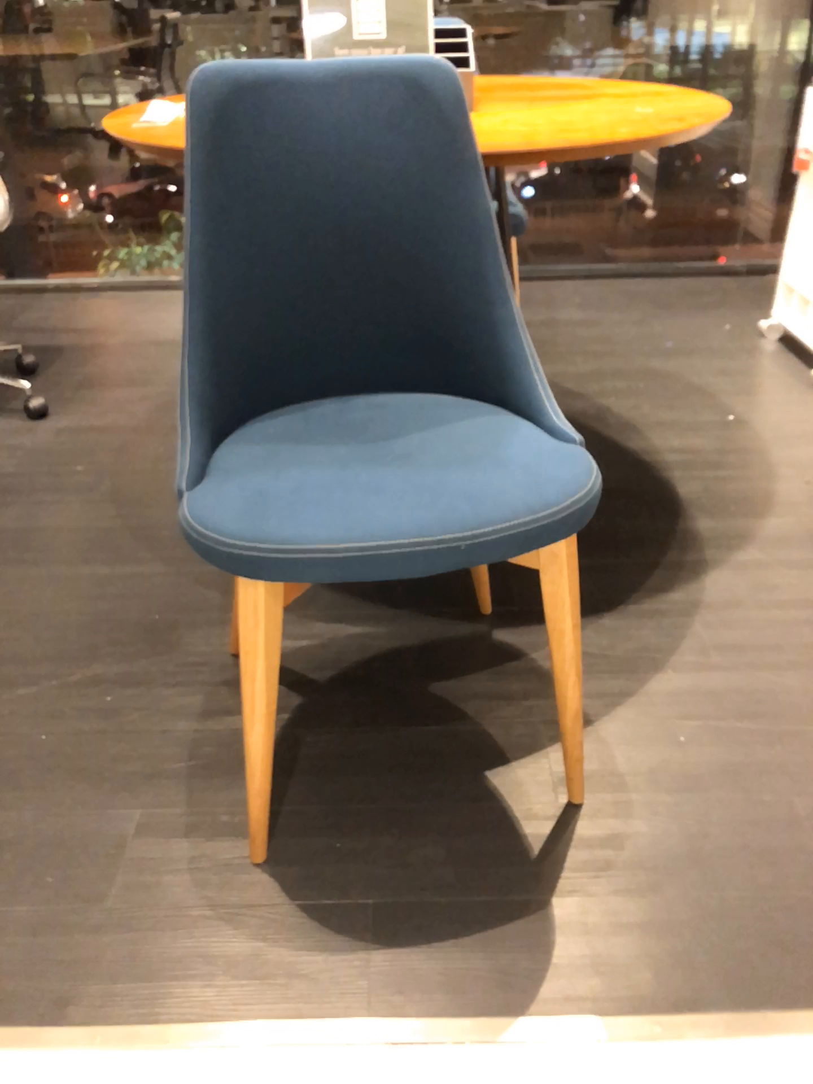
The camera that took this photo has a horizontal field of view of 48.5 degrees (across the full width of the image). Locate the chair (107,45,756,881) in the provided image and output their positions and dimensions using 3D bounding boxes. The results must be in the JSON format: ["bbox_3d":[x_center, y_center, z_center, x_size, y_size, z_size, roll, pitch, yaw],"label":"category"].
[{"bbox_3d":[-0.012,-0.125,1.149,0.520,0.854,0.544,-8,31,-10],"label":"chair"}]
